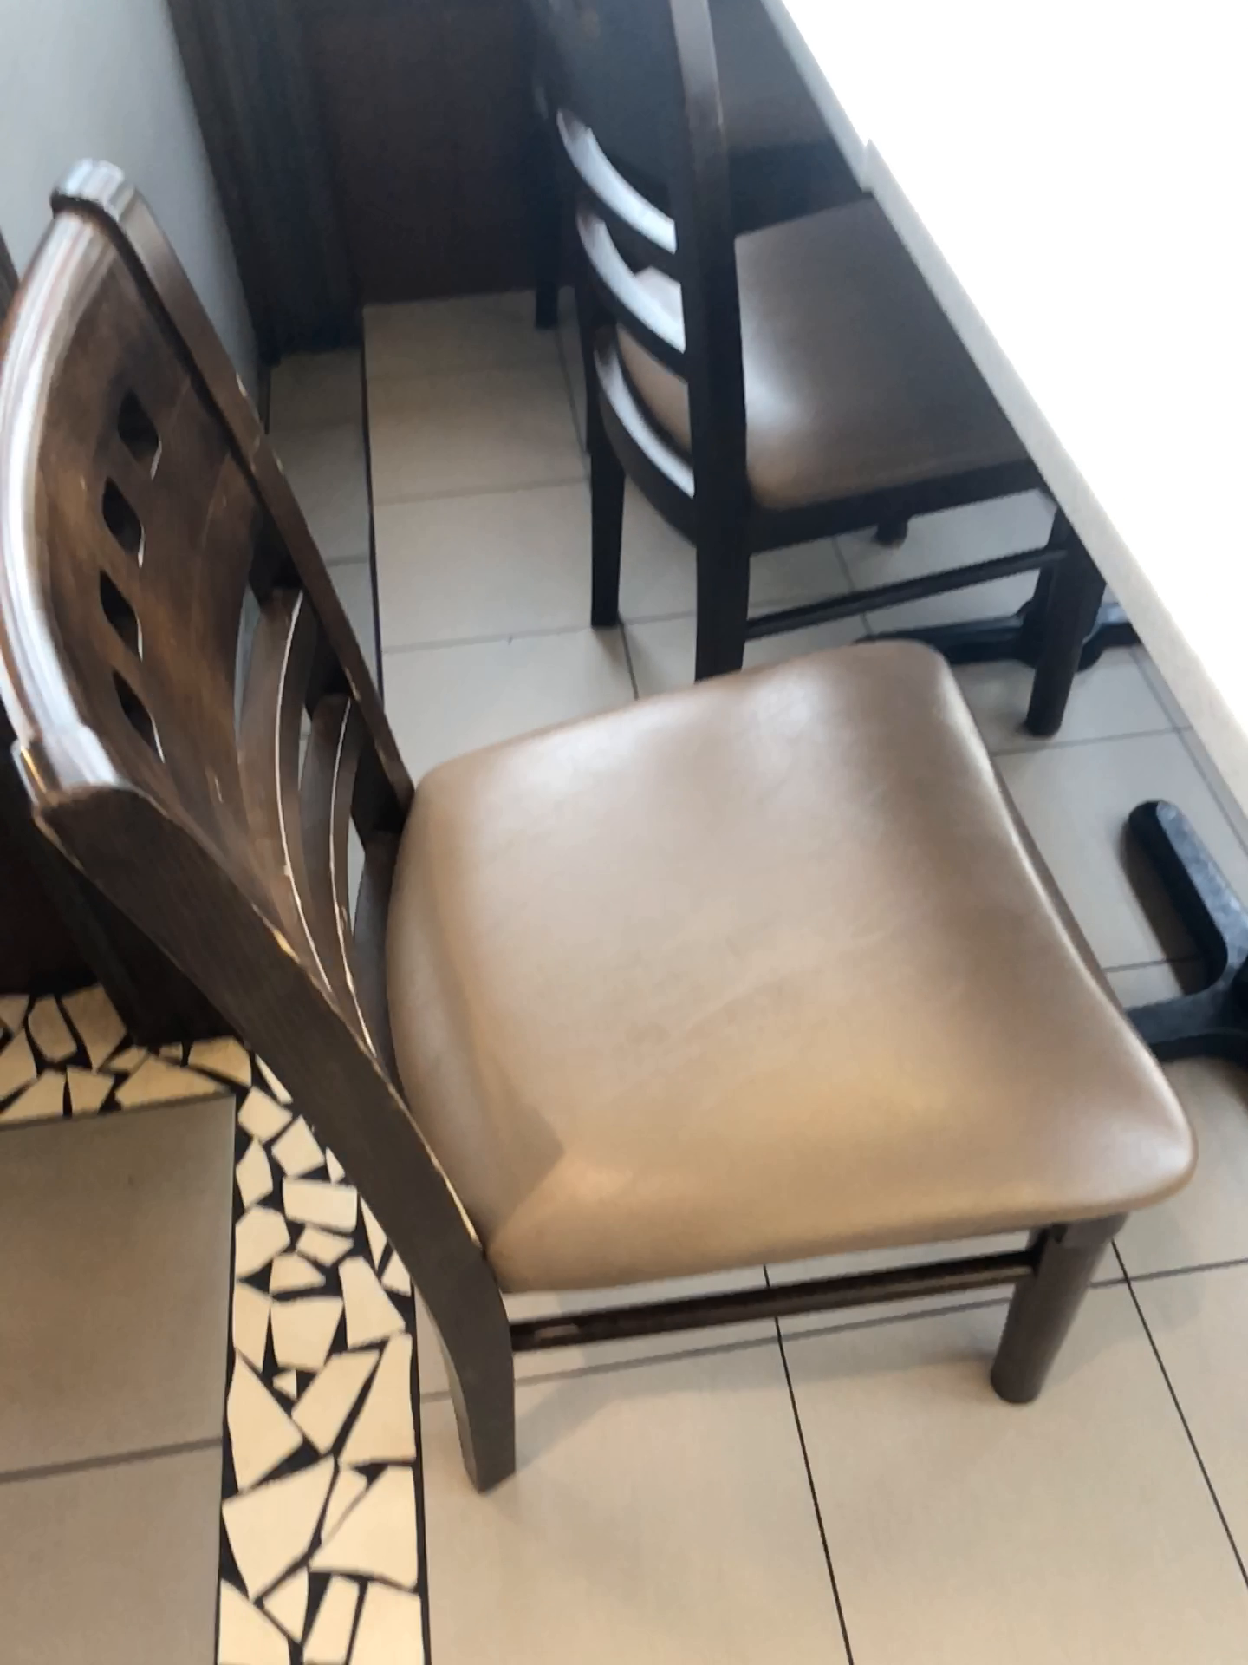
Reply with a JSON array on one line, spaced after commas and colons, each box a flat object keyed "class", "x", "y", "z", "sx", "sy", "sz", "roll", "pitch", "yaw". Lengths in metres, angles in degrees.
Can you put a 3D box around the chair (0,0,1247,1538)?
[{"class": "chair", "x": 0.062, "y": 0.023, "z": 0.800, "sx": 0.570, "sy": 0.716, "sz": 0.473, "roll": -9, "pitch": 51, "yaw": -5}]
